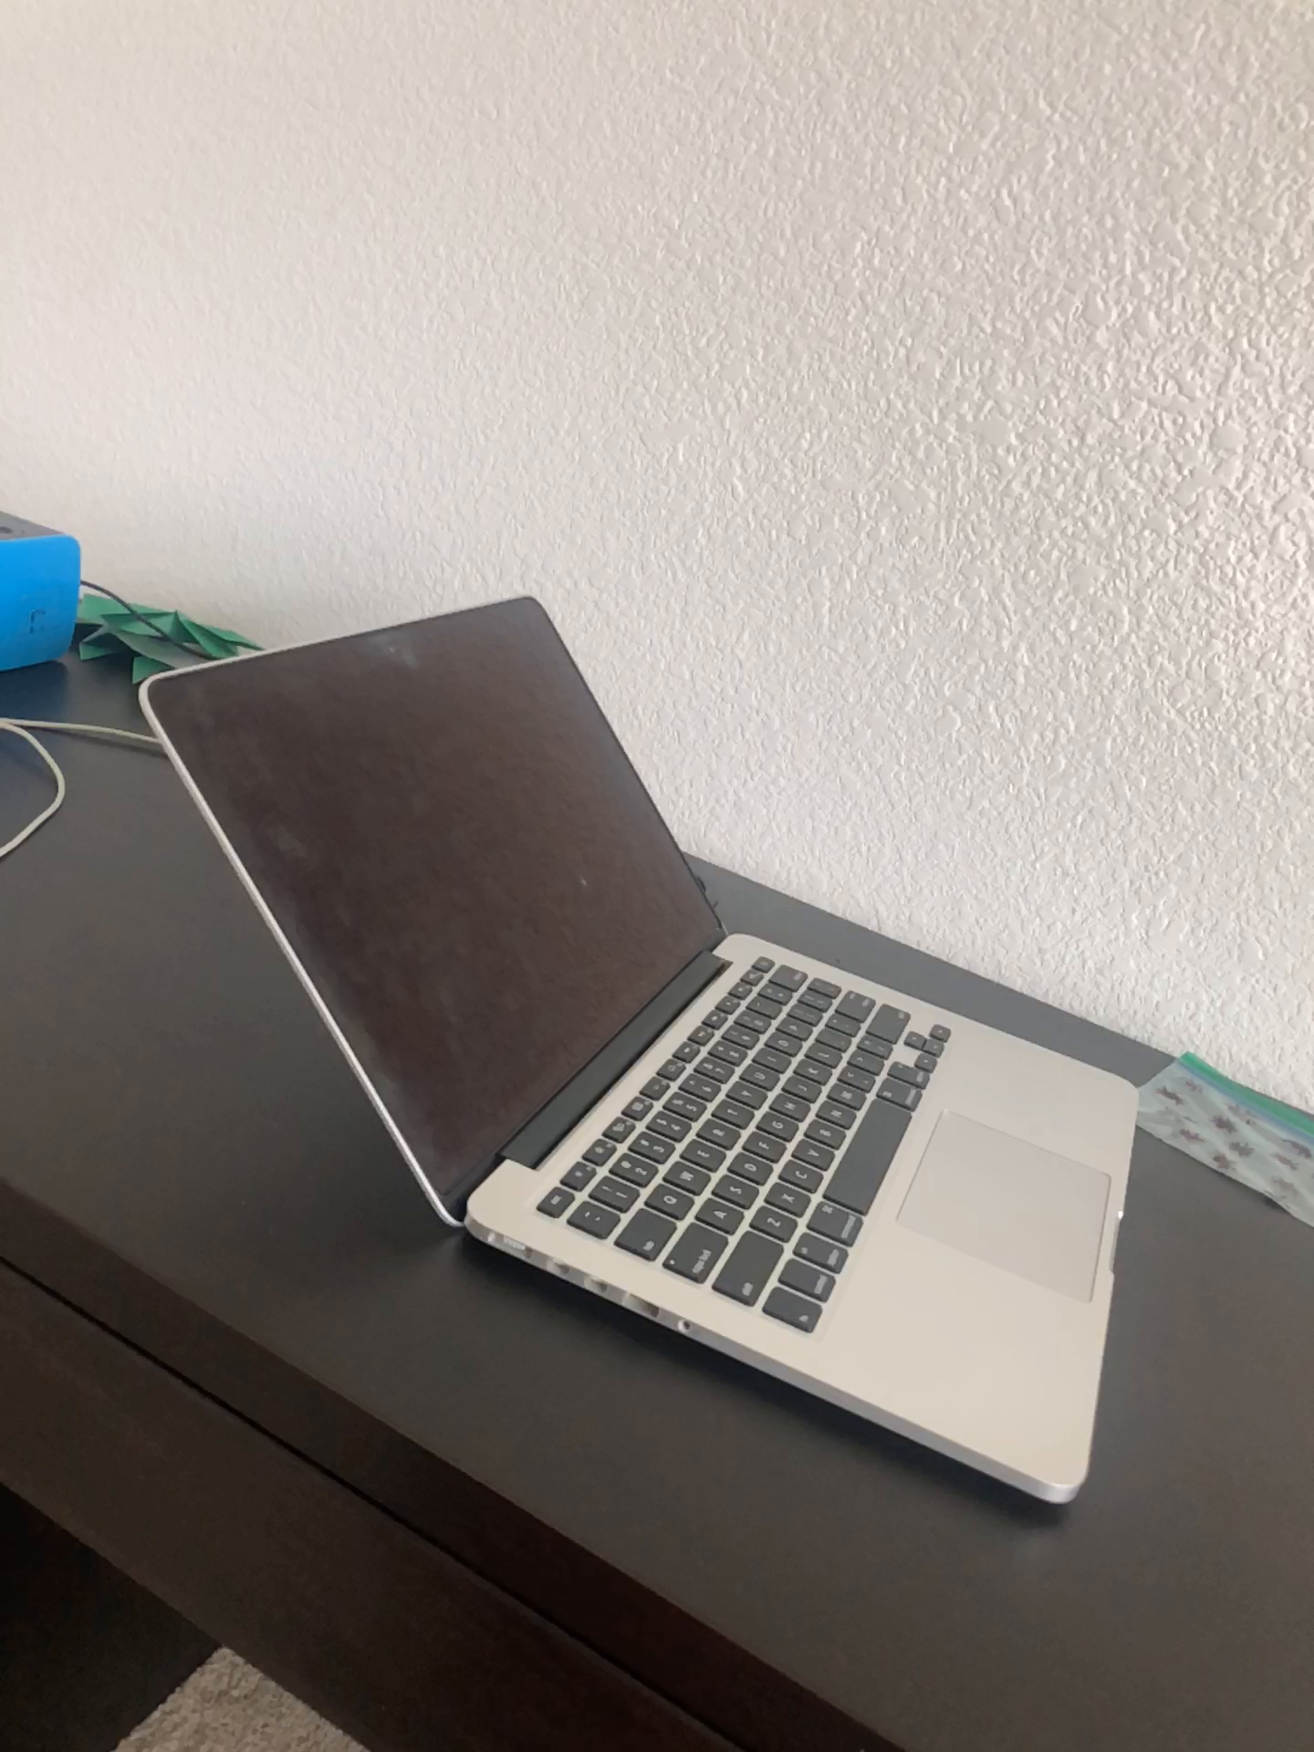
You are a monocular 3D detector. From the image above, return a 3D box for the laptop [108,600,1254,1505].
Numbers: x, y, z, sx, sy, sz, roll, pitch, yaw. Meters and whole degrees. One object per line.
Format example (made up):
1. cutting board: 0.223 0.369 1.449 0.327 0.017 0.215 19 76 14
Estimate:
1. laptop: 0.033 0.021 0.592 0.362 0.133 0.310 21 22 15
